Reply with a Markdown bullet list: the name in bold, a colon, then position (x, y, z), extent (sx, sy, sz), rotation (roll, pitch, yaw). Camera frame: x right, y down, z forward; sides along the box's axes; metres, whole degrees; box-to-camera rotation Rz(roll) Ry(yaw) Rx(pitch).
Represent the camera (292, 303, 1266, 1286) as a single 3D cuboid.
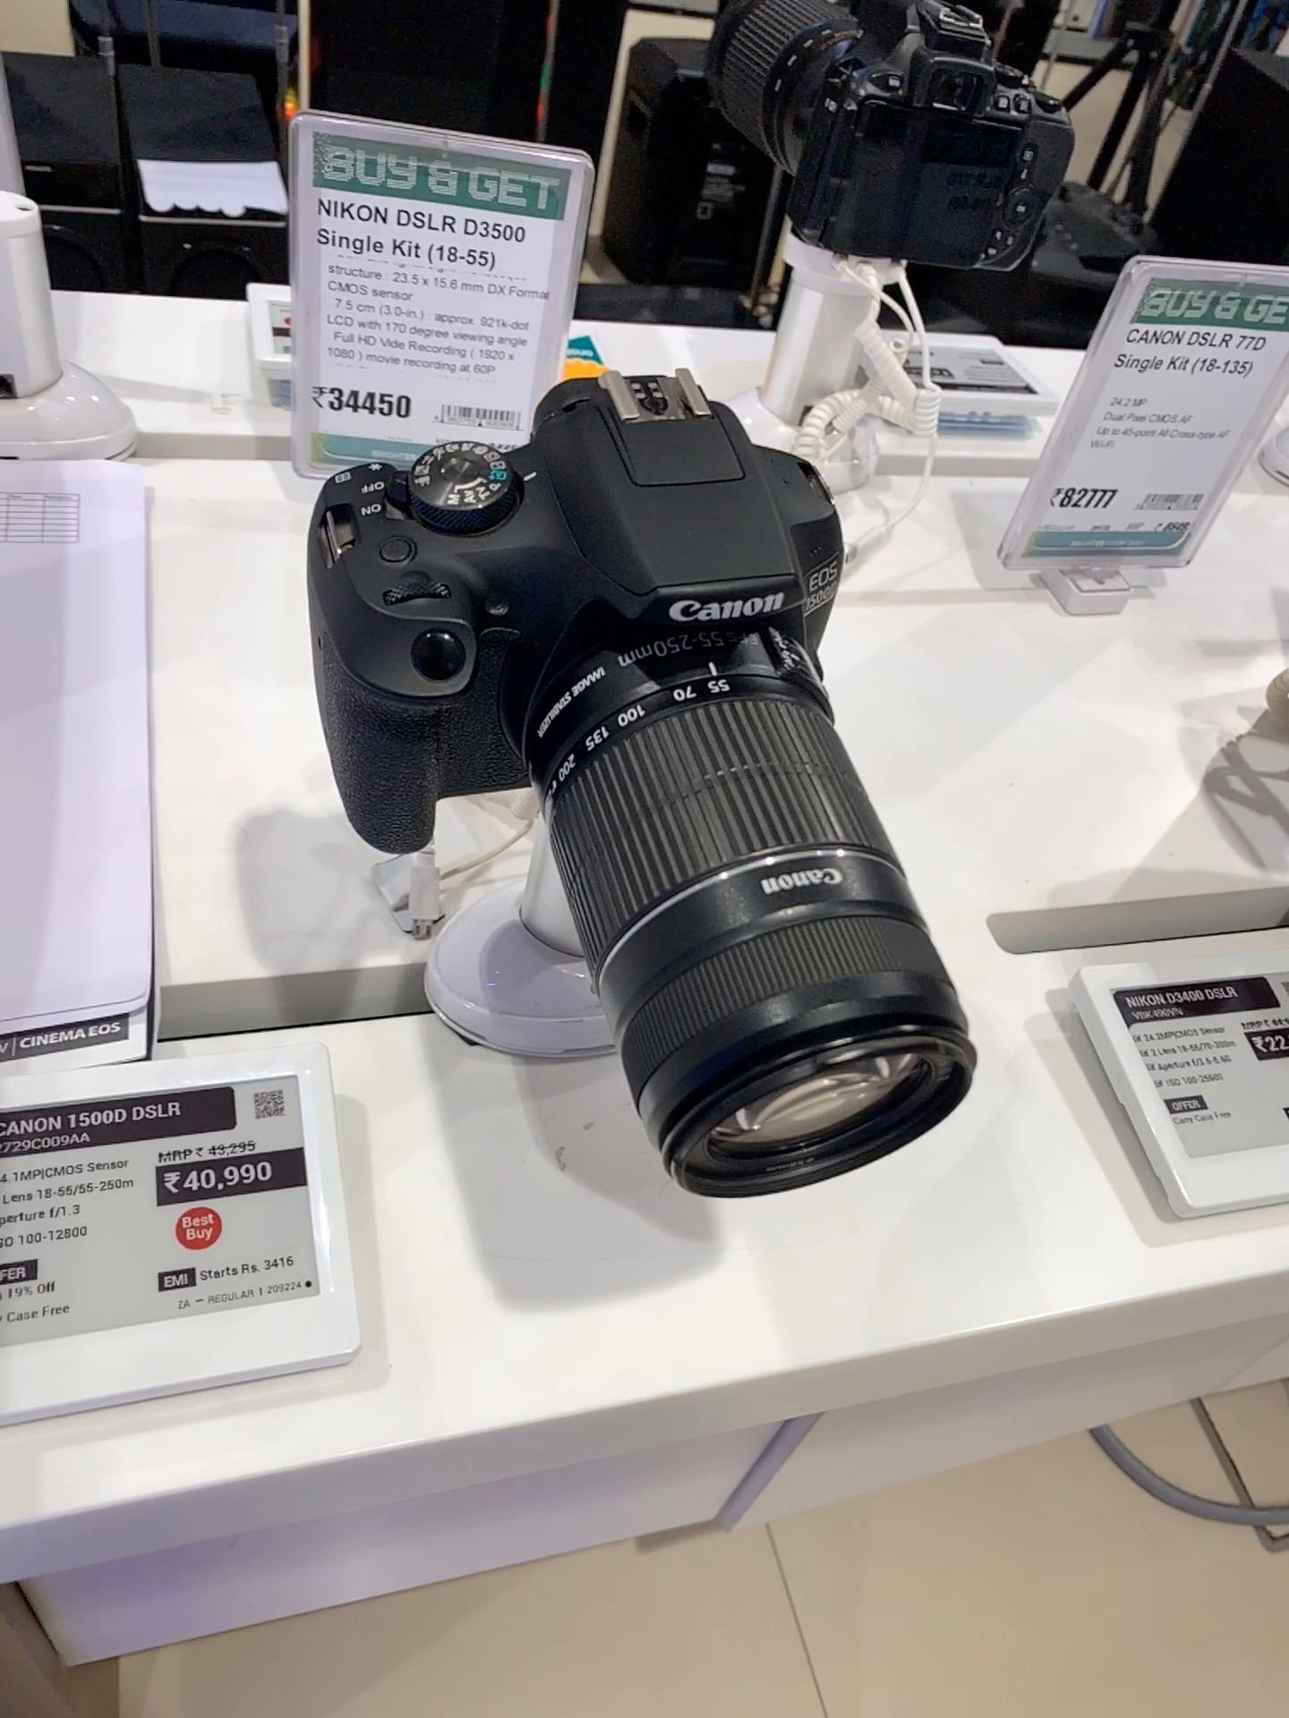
- **camera**: position (0.005, -0.030, 0.288), extent (0.130, 0.090, 0.190), rotation (-7, 50, -19)
